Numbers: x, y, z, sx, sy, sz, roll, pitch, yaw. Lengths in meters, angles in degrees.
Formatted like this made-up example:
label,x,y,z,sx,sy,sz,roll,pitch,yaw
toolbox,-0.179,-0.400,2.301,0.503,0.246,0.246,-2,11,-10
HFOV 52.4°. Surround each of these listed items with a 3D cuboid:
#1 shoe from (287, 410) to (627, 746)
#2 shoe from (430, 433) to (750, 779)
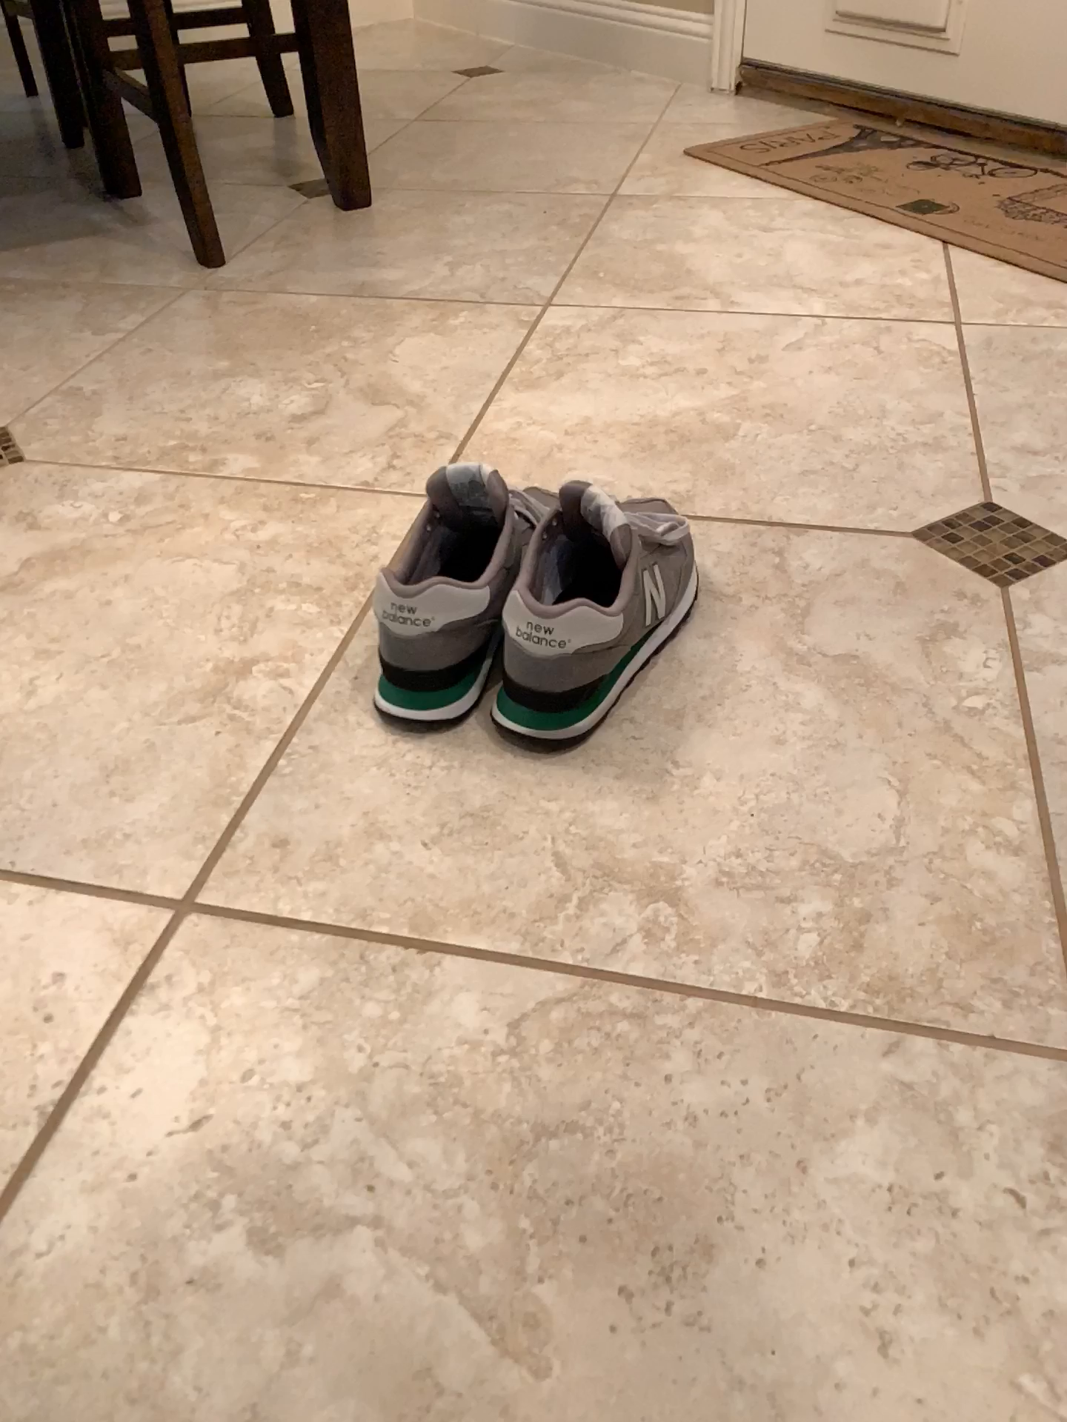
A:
label,x,y,z,sx,sy,sz,roll,pitch,yaw
shoe,-0.043,-0.114,0.823,0.115,0.103,0.285,18,44,23
shoe,0.052,-0.090,0.797,0.115,0.103,0.275,18,44,23
